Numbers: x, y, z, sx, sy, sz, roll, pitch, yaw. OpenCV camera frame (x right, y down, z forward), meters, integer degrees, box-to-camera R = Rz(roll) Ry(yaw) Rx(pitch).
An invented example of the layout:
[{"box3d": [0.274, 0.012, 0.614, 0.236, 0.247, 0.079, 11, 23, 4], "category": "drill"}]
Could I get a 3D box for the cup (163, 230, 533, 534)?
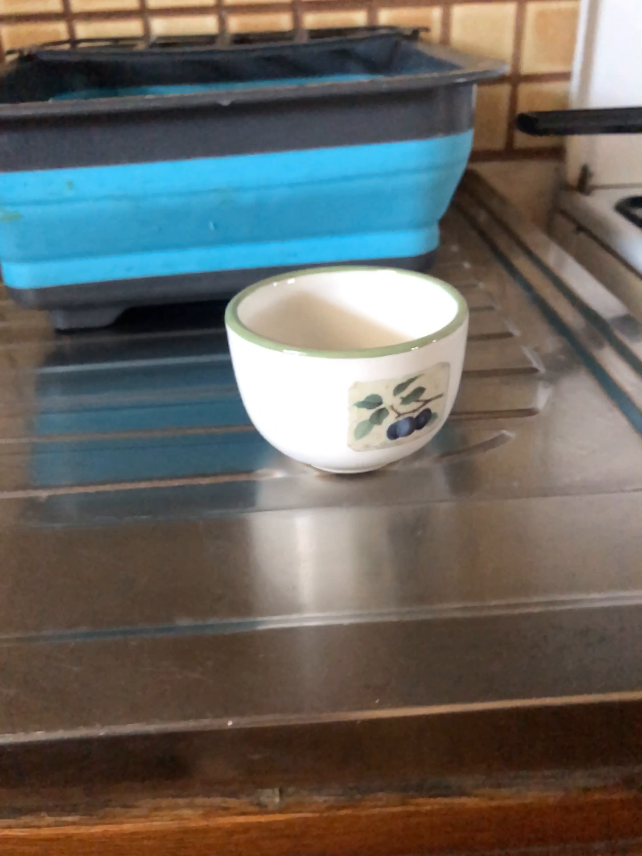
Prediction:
[{"box3d": [0.014, -0.028, 0.281, 0.090, 0.060, 0.111, 21, 38, 33], "category": "cup"}]
